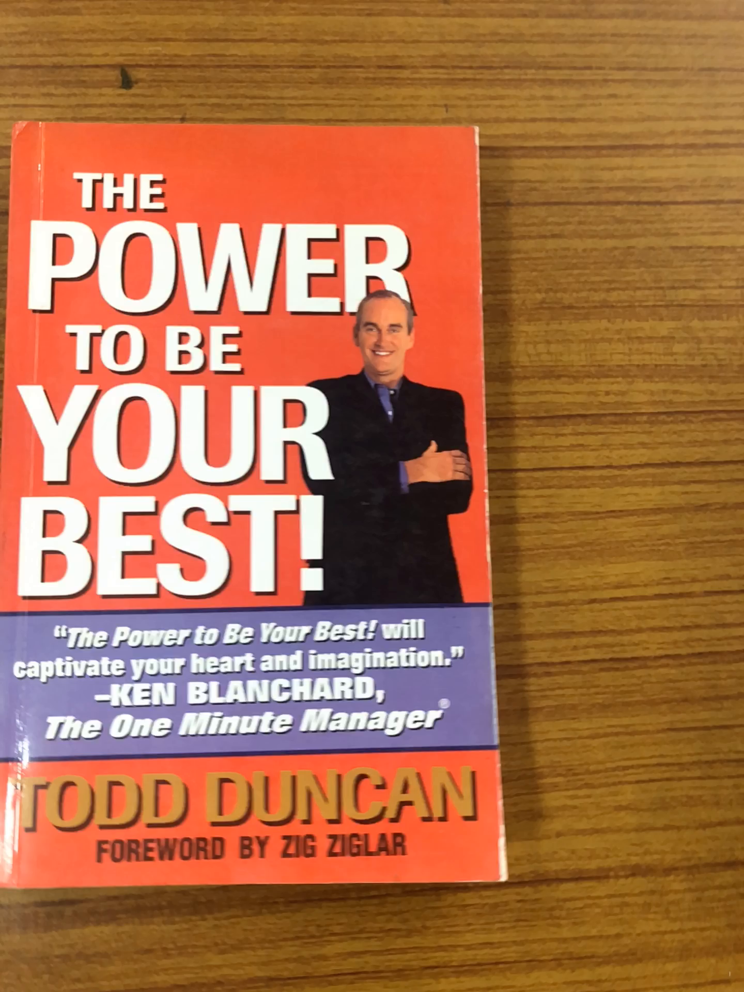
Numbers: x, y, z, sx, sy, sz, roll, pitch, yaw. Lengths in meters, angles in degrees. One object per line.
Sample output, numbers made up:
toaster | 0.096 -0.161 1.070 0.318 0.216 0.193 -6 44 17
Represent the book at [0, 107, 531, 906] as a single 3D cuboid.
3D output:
book | -0.034 -0.002 0.248 0.150 0.030 0.220 0 84 -3
